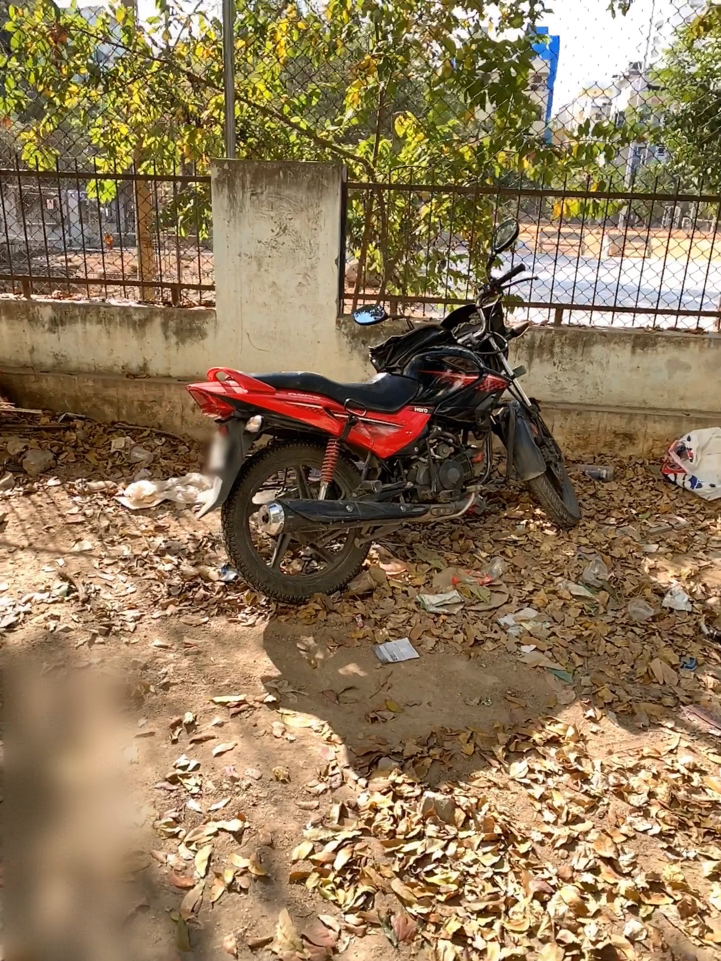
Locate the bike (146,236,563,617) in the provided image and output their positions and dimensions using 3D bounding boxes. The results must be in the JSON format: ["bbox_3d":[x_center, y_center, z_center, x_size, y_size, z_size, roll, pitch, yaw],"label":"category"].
[{"bbox_3d":[-0.037,-0.331,2.911,1.291,1.068,0.824,-15,26,-31],"label":"bike"}]
